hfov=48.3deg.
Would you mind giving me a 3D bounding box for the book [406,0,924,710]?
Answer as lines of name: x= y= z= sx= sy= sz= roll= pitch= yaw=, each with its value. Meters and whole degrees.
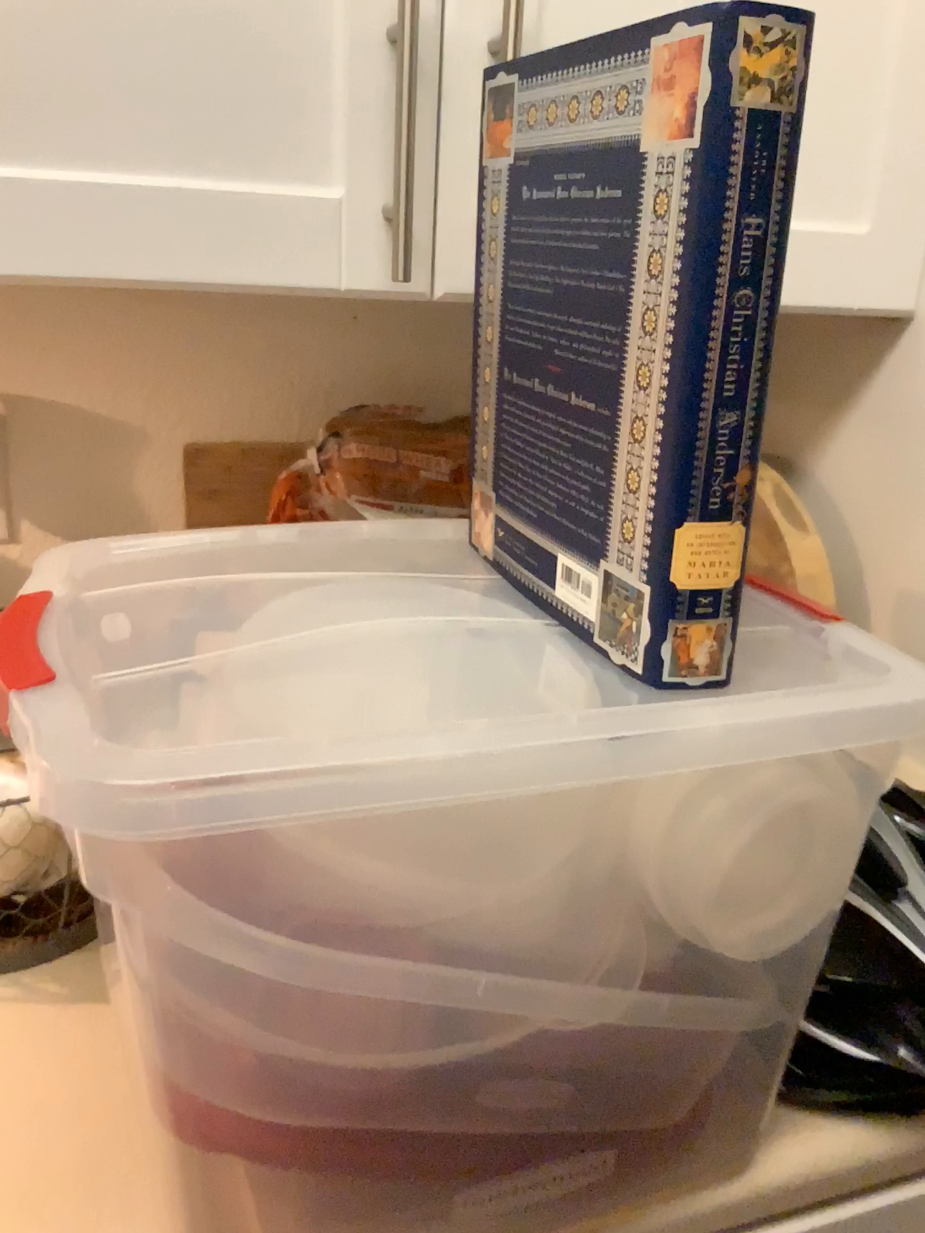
book: x=0.092 y=-0.125 z=0.512 sx=0.200 sy=0.260 sz=0.250 roll=1 pitch=19 yaw=-10
